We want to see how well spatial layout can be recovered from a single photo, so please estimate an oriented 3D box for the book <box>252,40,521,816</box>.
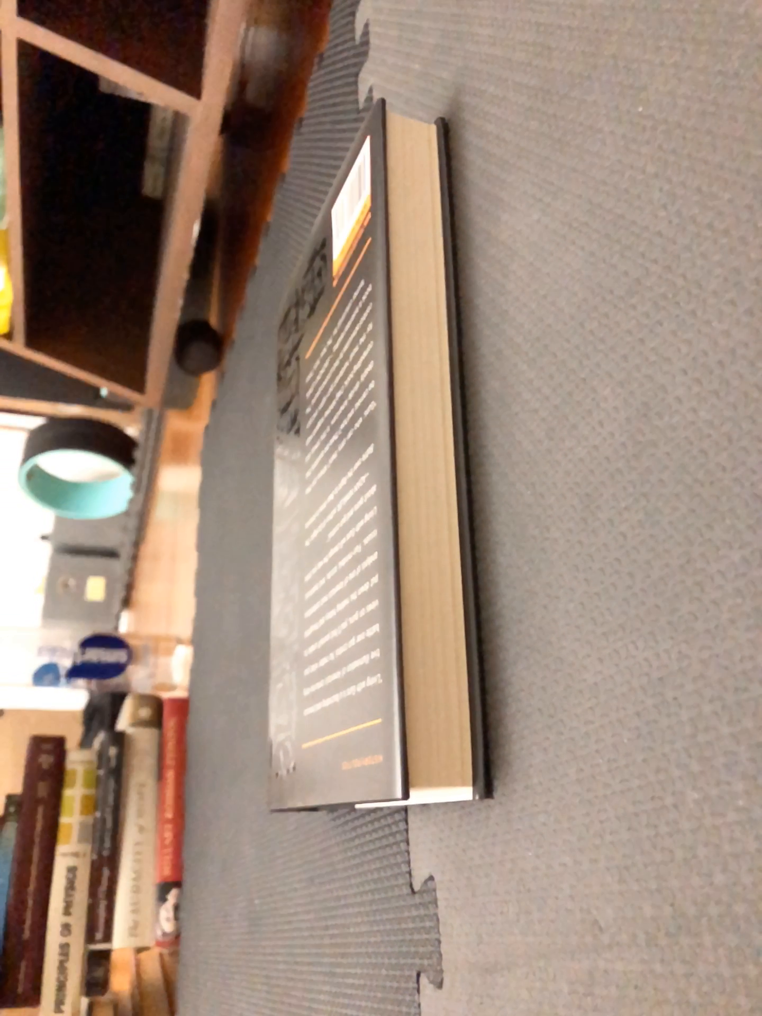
[{"bbox_3d":[-0.009,-0.016,0.342,0.170,0.040,0.260,136,137,-63],"label":"book"}]
